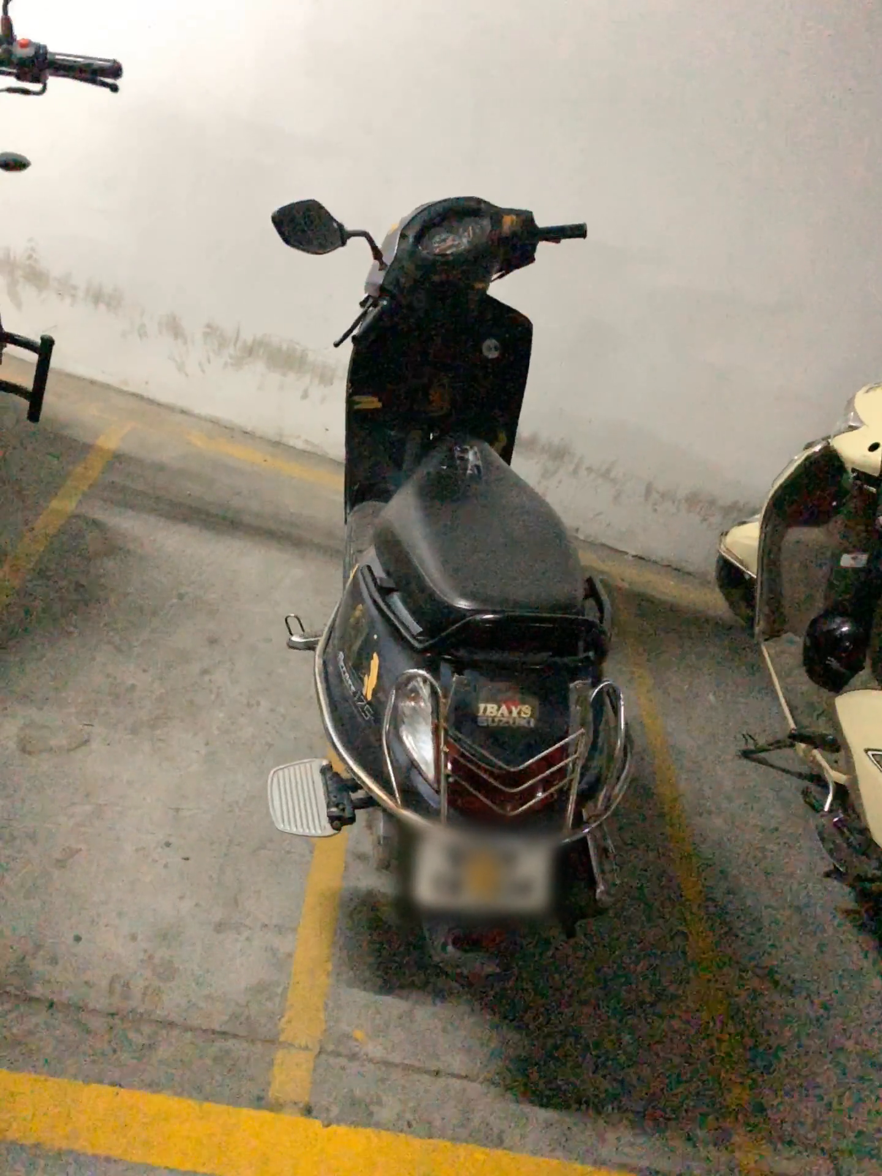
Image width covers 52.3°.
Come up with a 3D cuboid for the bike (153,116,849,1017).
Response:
[{"bbox_3d":[-0.118,-0.130,1.962,0.653,1.239,1.537,11,34,-18],"label":"bike"}]
